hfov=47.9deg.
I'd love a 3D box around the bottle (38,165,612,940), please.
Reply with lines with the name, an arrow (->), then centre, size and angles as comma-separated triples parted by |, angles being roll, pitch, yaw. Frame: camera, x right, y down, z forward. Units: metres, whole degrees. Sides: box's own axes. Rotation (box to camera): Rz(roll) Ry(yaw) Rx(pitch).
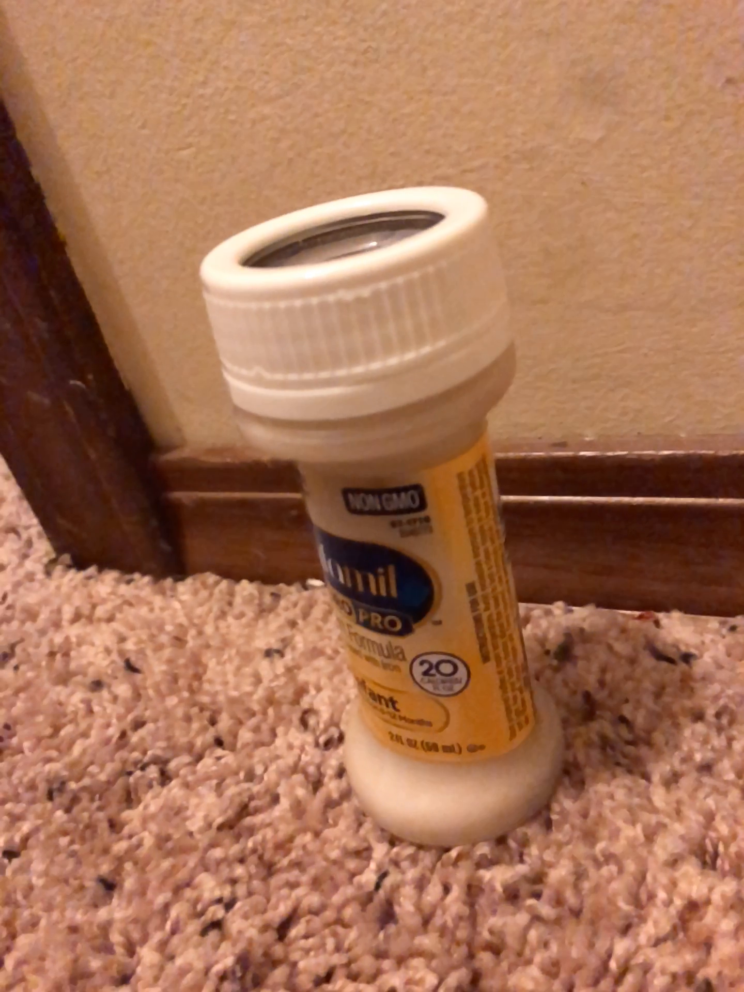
bottle -> -0.002, 0.009, 0.141 | 0.050, 0.110, 0.050 | -12, 31, 7
